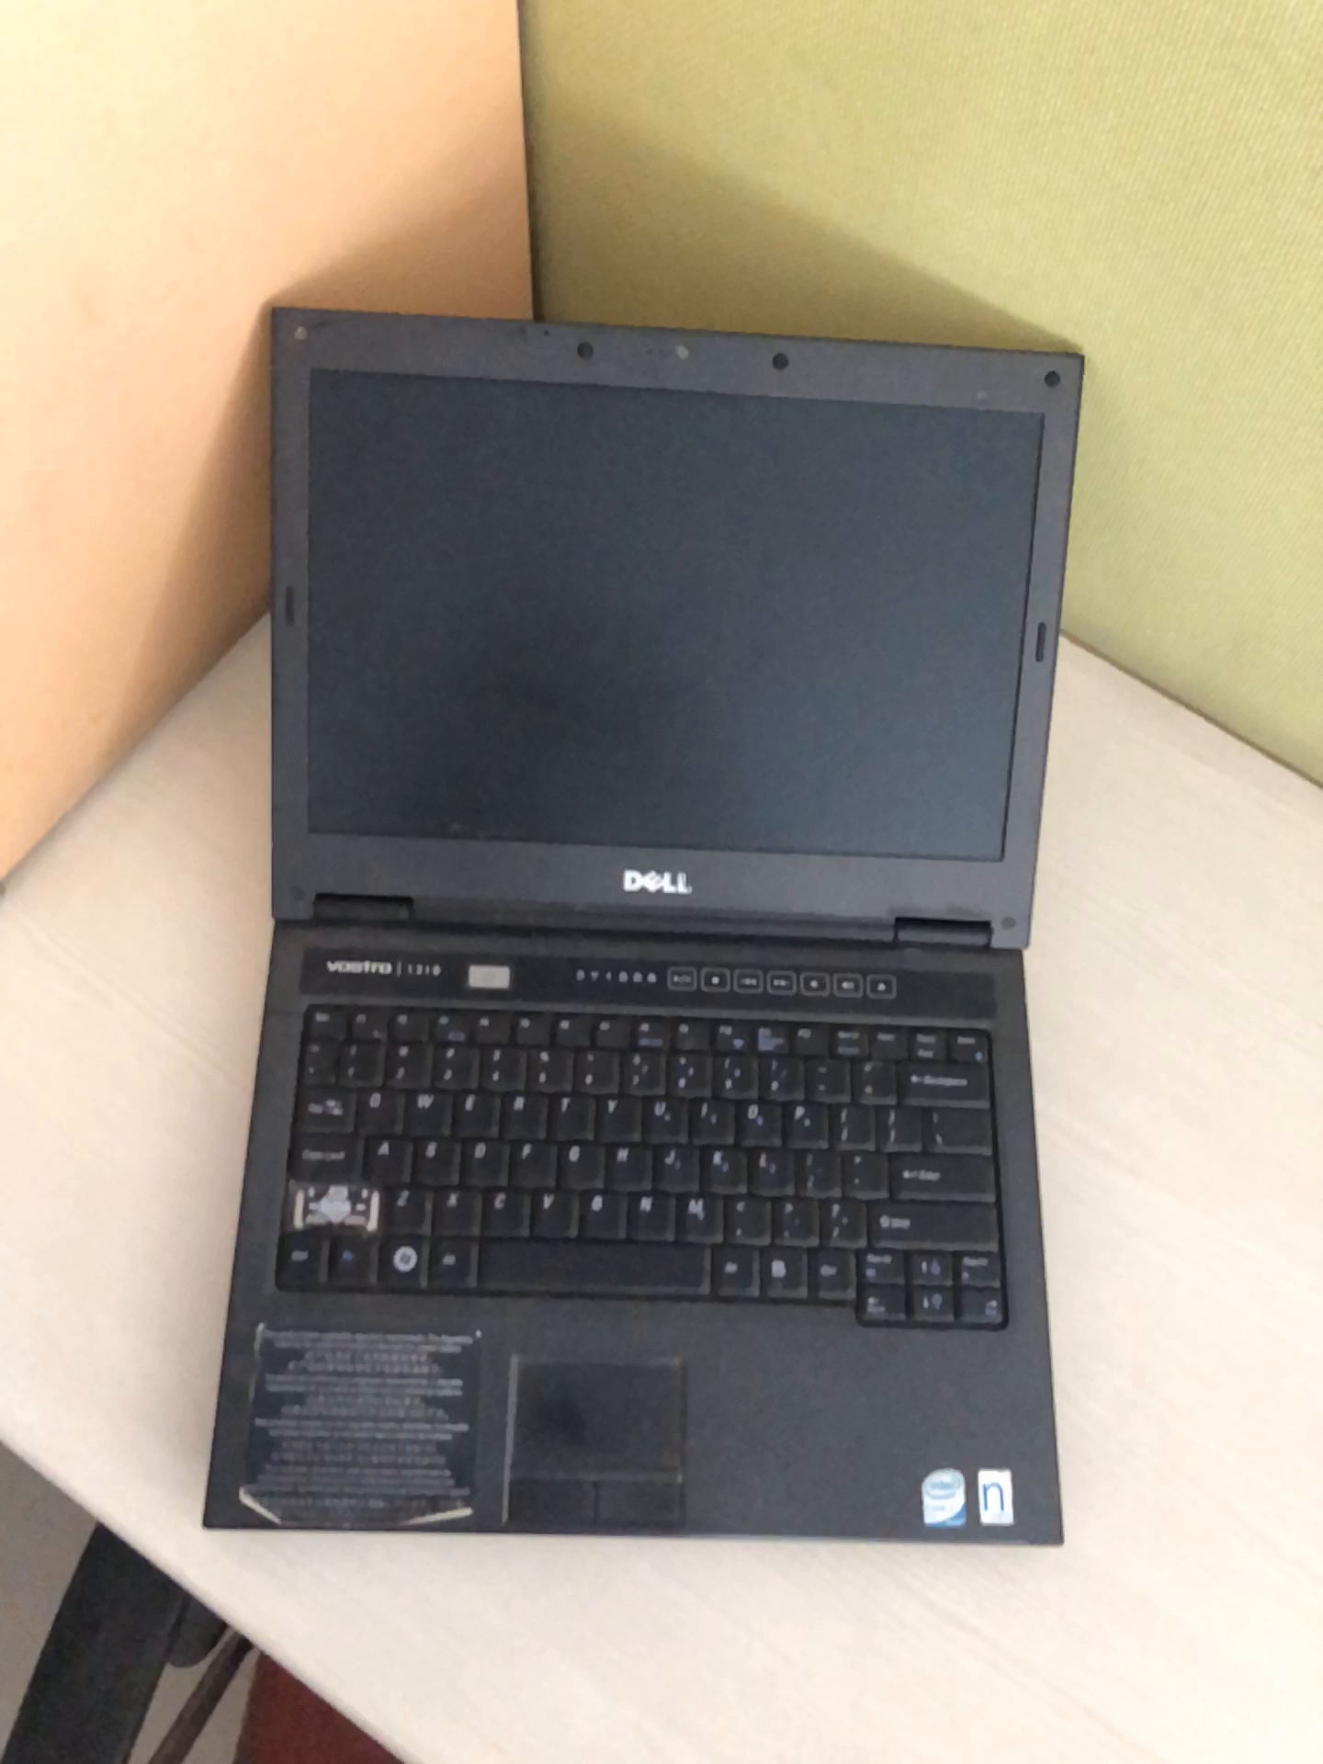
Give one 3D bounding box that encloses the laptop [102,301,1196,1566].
[{"bbox_3d":[0.001,0.010,0.540,0.305,0.125,0.430,2,70,-3],"label":"laptop"}]
